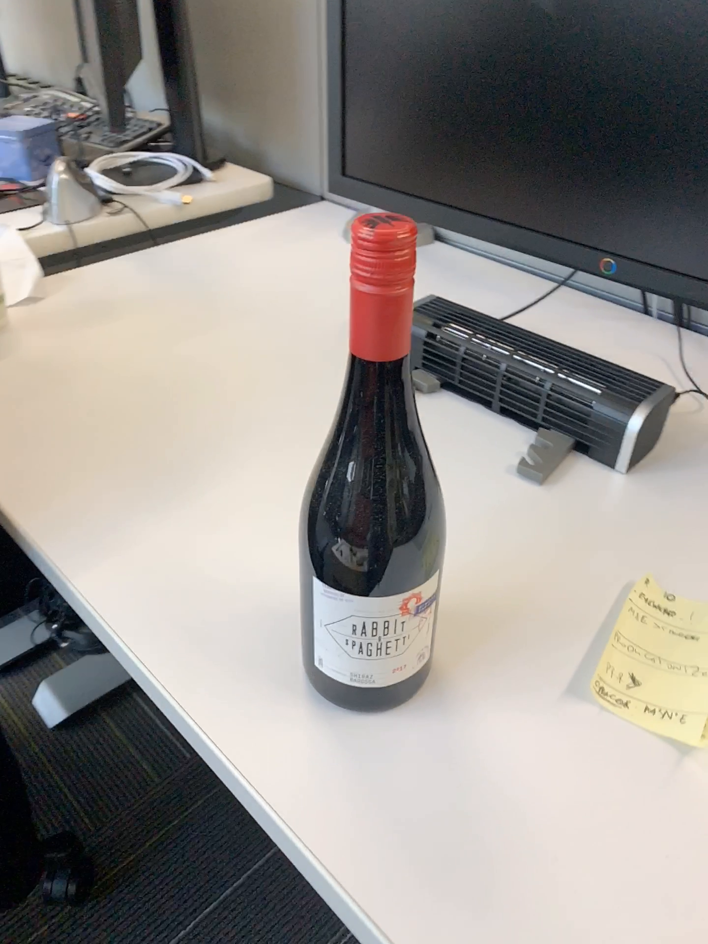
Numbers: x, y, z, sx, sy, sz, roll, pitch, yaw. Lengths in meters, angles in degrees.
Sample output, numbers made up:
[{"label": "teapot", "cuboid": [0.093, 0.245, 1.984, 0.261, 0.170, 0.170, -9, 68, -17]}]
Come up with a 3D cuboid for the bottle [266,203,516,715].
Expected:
[{"label": "bottle", "cuboid": [0.012, 0.005, 0.407, 0.097, 0.270, 0.111, 1, 37, -1]}]
